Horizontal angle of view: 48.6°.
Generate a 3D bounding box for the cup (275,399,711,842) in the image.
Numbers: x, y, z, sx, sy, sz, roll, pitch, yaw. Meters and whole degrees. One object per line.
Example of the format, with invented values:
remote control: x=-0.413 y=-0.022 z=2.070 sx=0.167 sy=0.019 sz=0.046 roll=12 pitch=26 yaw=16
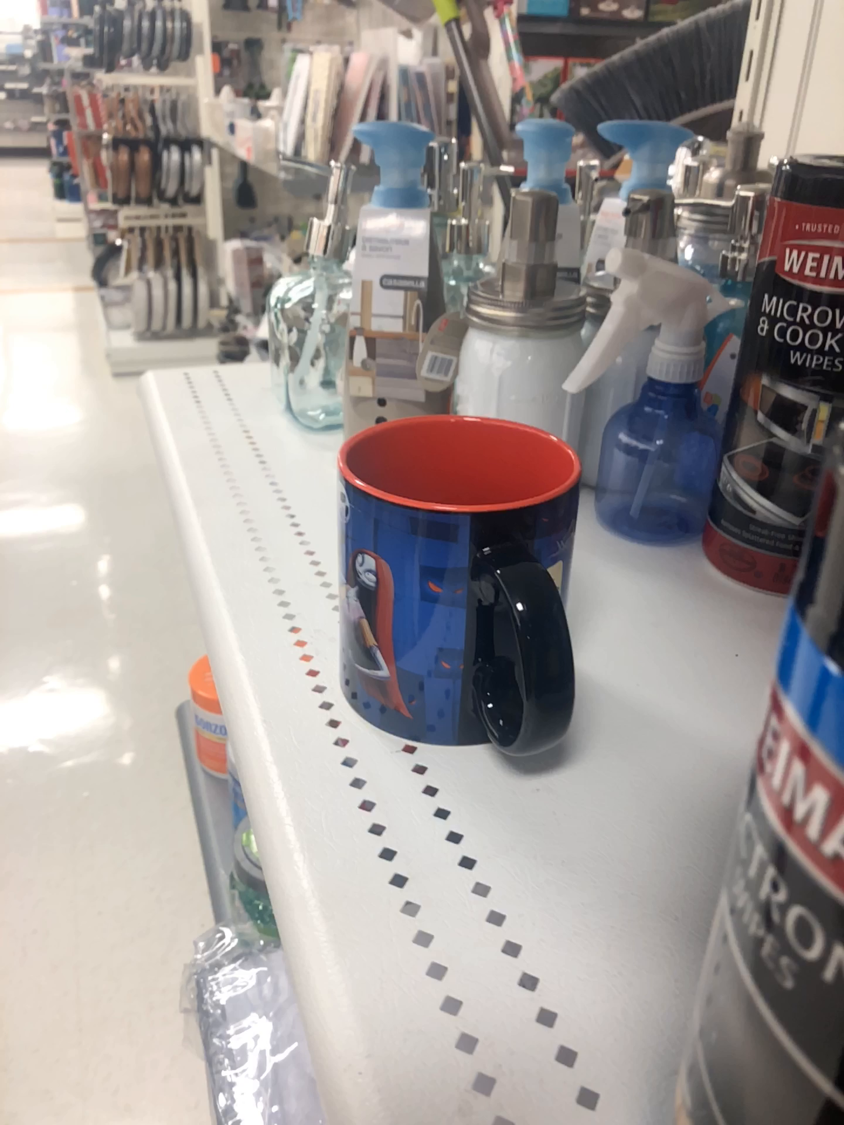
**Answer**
cup: x=0.017 y=0.011 z=0.385 sx=0.113 sy=0.103 sz=0.148 roll=-10 pitch=30 yaw=-22
